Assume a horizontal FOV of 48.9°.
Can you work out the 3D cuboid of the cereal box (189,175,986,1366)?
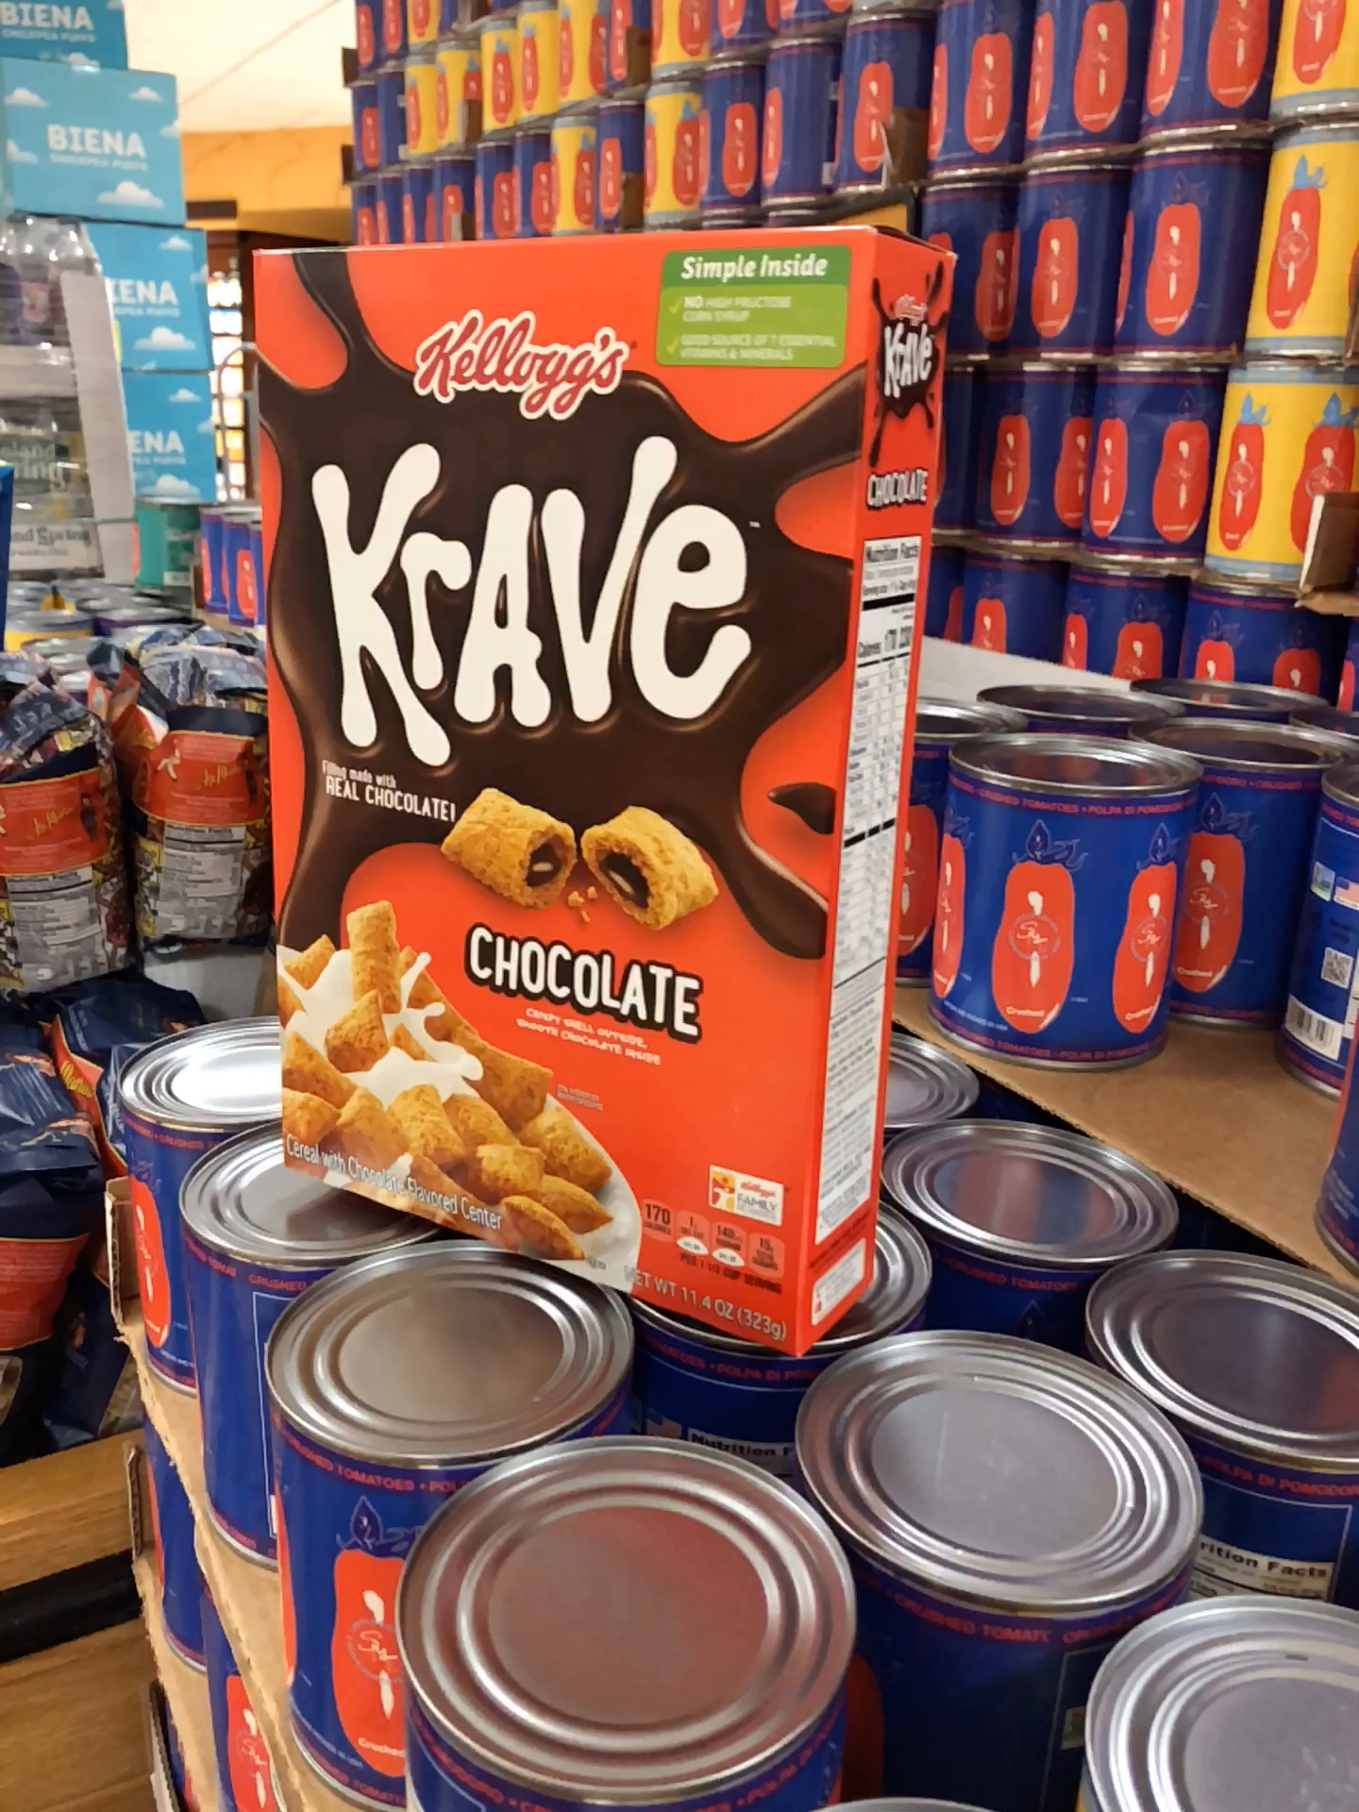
[{"bbox_3d":[-0.036,-0.043,0.431,0.210,0.288,0.060,12,19,29],"label":"cereal box"}]
